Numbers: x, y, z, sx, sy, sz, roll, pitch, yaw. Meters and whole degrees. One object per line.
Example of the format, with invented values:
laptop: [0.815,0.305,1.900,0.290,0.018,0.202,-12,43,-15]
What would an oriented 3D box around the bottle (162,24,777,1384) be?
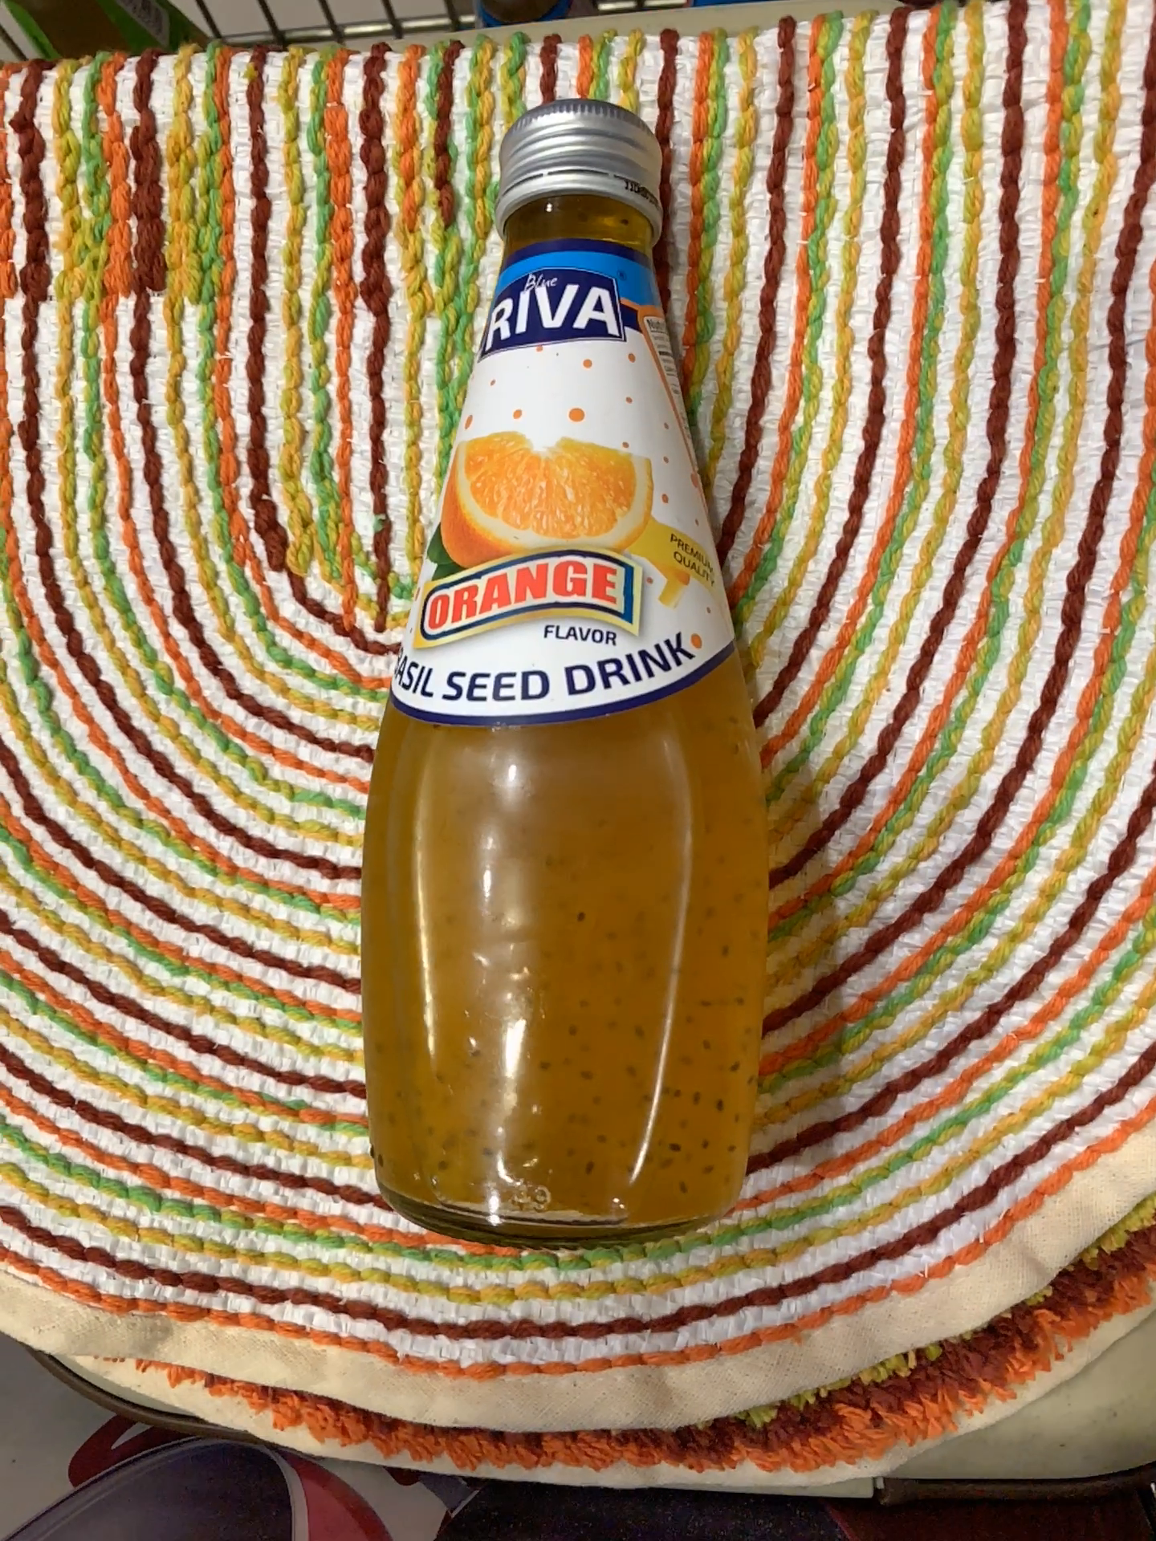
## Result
bottle: [-0.008,-0.005,0.171,0.070,0.050,0.160,1,100,10]
